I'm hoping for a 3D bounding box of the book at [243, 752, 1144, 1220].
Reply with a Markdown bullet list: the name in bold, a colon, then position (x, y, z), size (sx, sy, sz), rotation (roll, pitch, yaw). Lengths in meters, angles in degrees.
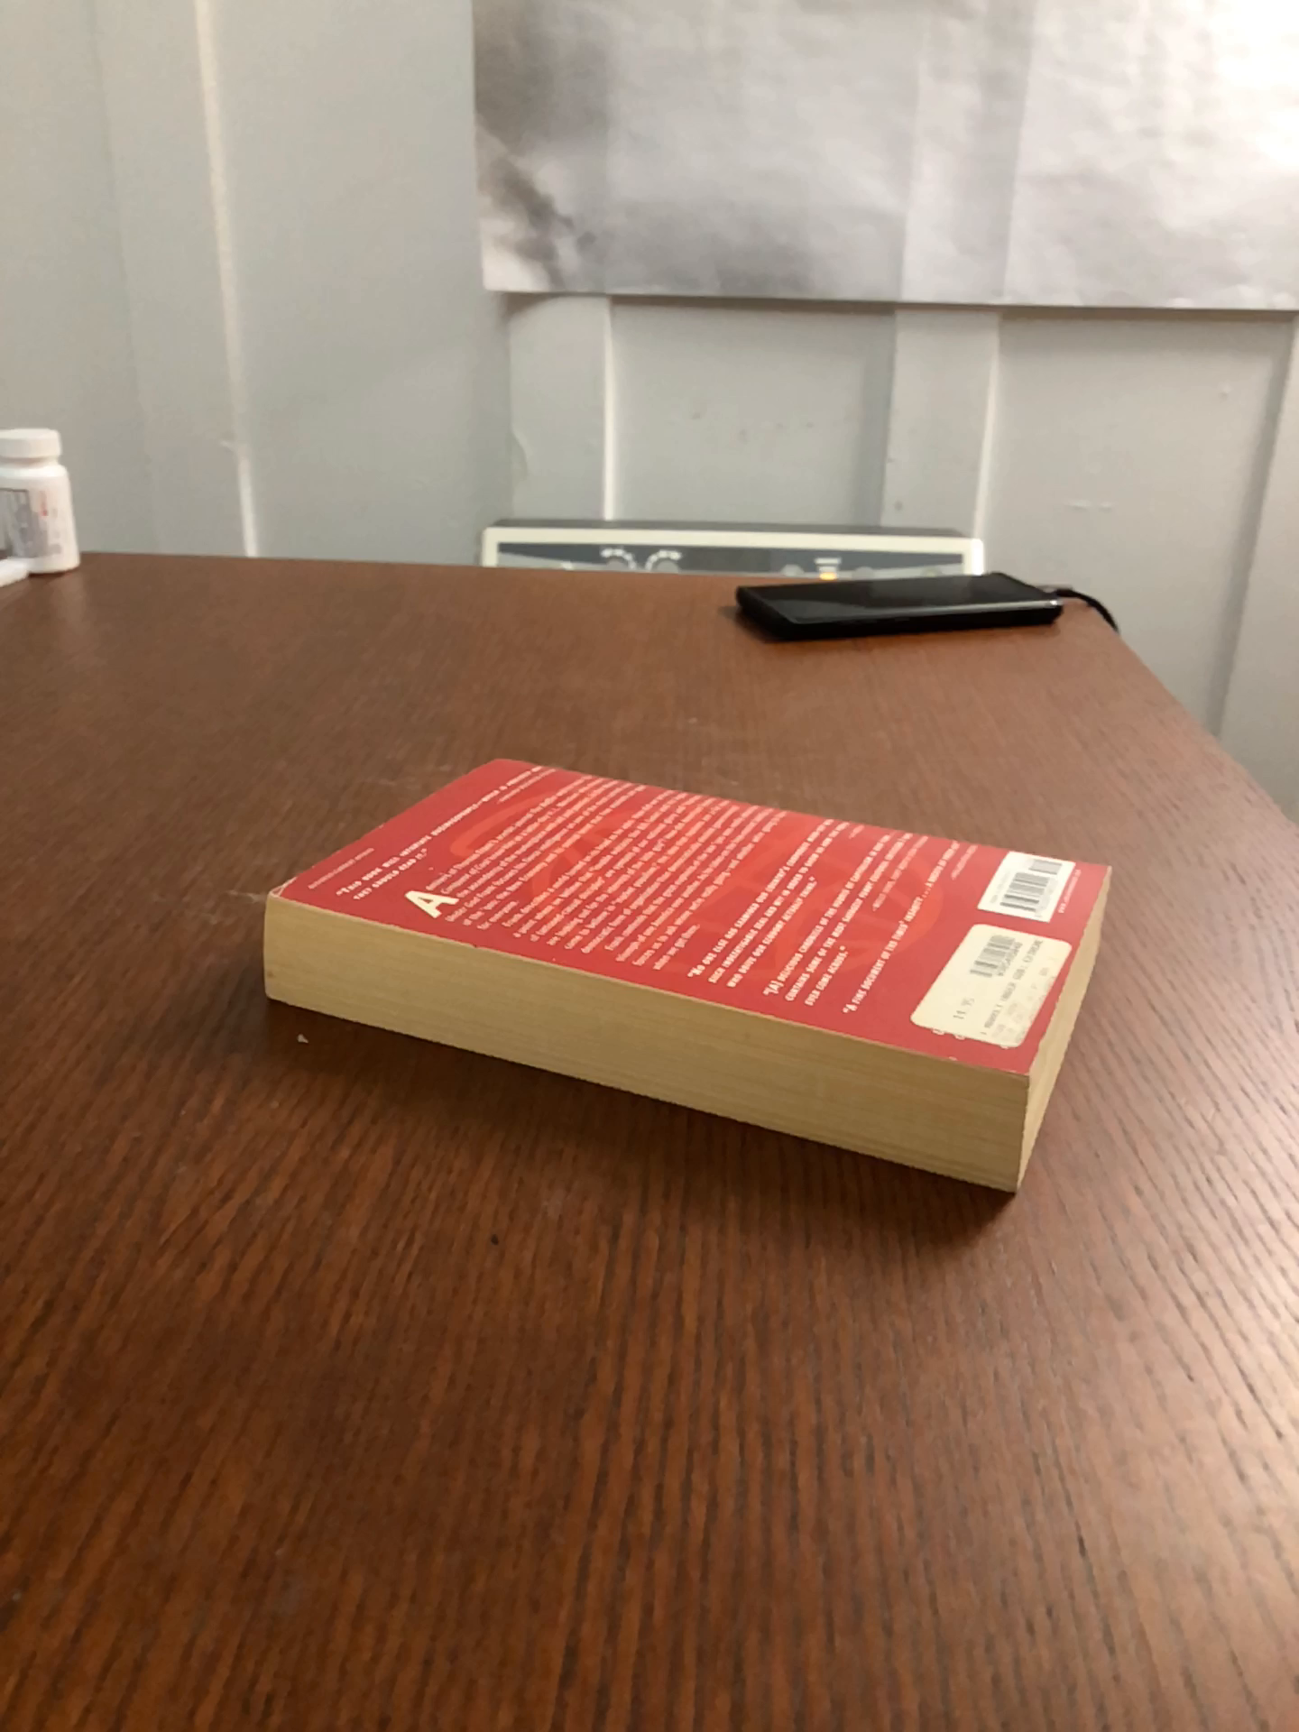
- **book**: position (0.018, 0.019, 0.399), size (0.210, 0.030, 0.141), rotation (11, 25, 21)
